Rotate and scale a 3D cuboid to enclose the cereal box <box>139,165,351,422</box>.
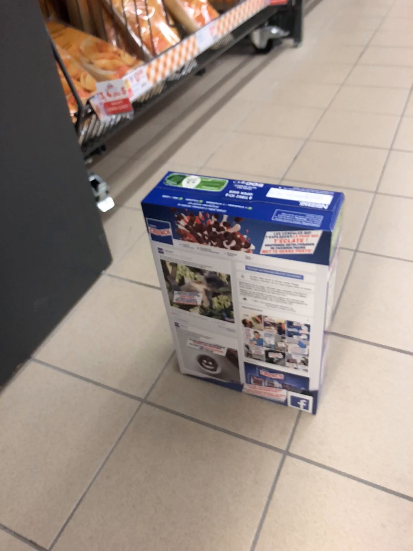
[{"bbox_3d":[0.047,0.031,0.529,0.190,0.288,0.071,12,43,20],"label":"cereal box"}]
